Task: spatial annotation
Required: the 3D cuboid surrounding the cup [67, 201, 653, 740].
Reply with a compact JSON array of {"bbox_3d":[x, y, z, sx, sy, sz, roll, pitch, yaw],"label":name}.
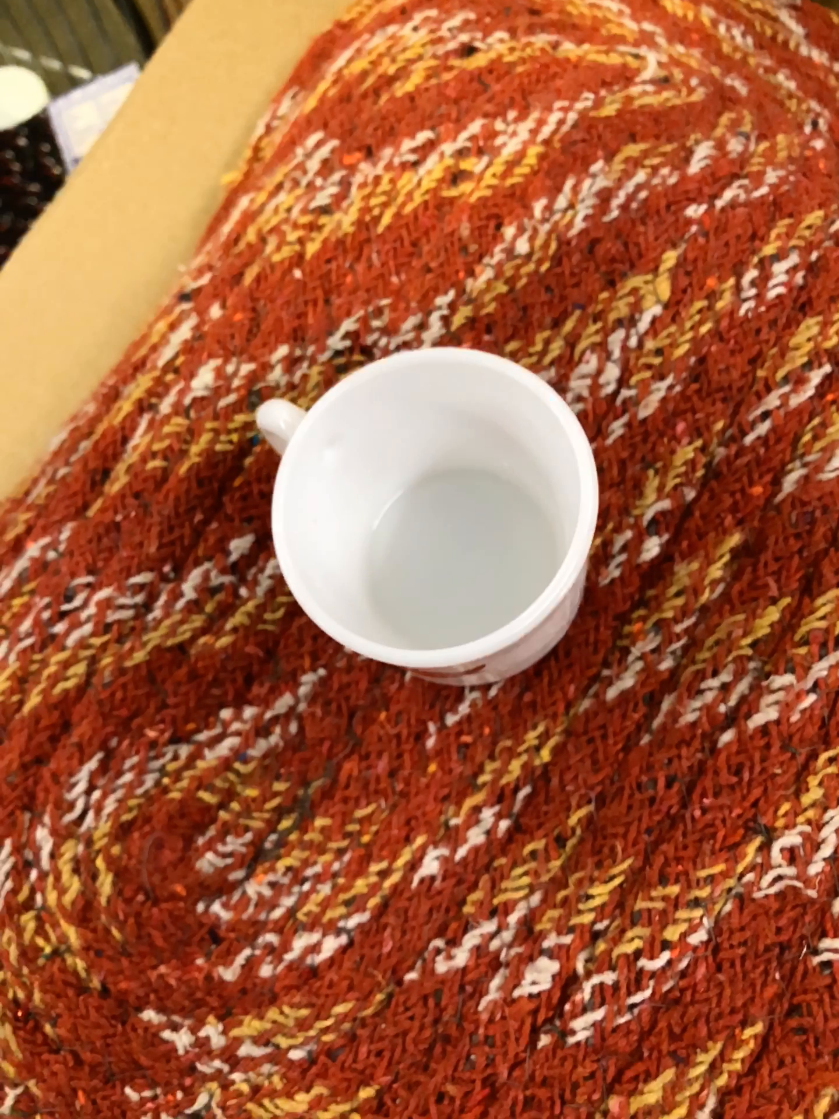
[{"bbox_3d":[-0.009,-0.015,0.199,0.090,0.060,0.060,33,83,17],"label":"cup"}]
